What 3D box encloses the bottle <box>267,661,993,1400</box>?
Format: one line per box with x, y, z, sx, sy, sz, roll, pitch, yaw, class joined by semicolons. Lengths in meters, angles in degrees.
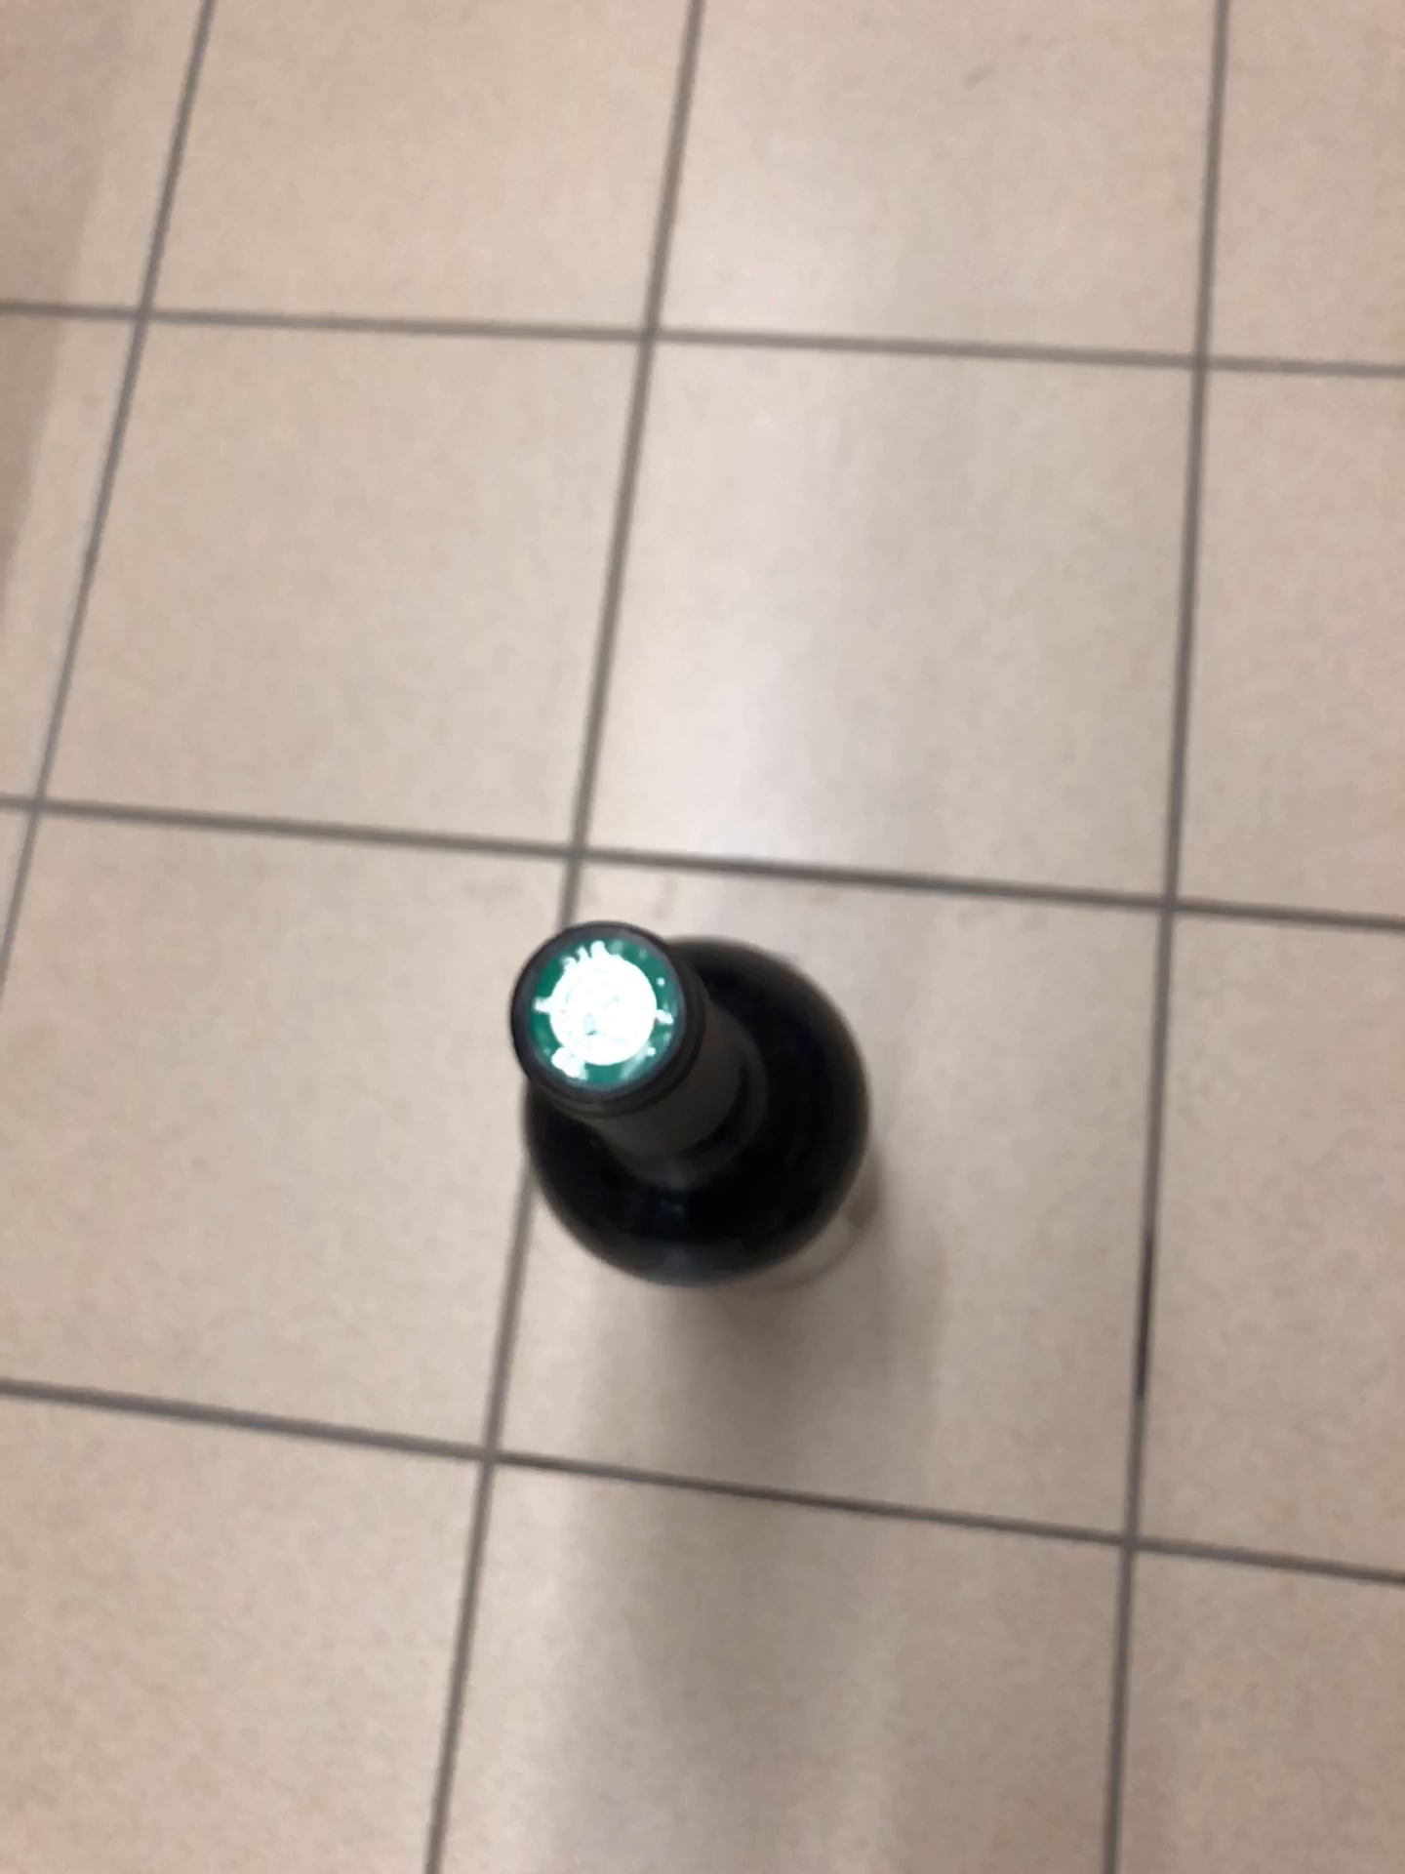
0.002;0.044;0.369;0.090;0.290;0.090;-1;77;6;bottle
